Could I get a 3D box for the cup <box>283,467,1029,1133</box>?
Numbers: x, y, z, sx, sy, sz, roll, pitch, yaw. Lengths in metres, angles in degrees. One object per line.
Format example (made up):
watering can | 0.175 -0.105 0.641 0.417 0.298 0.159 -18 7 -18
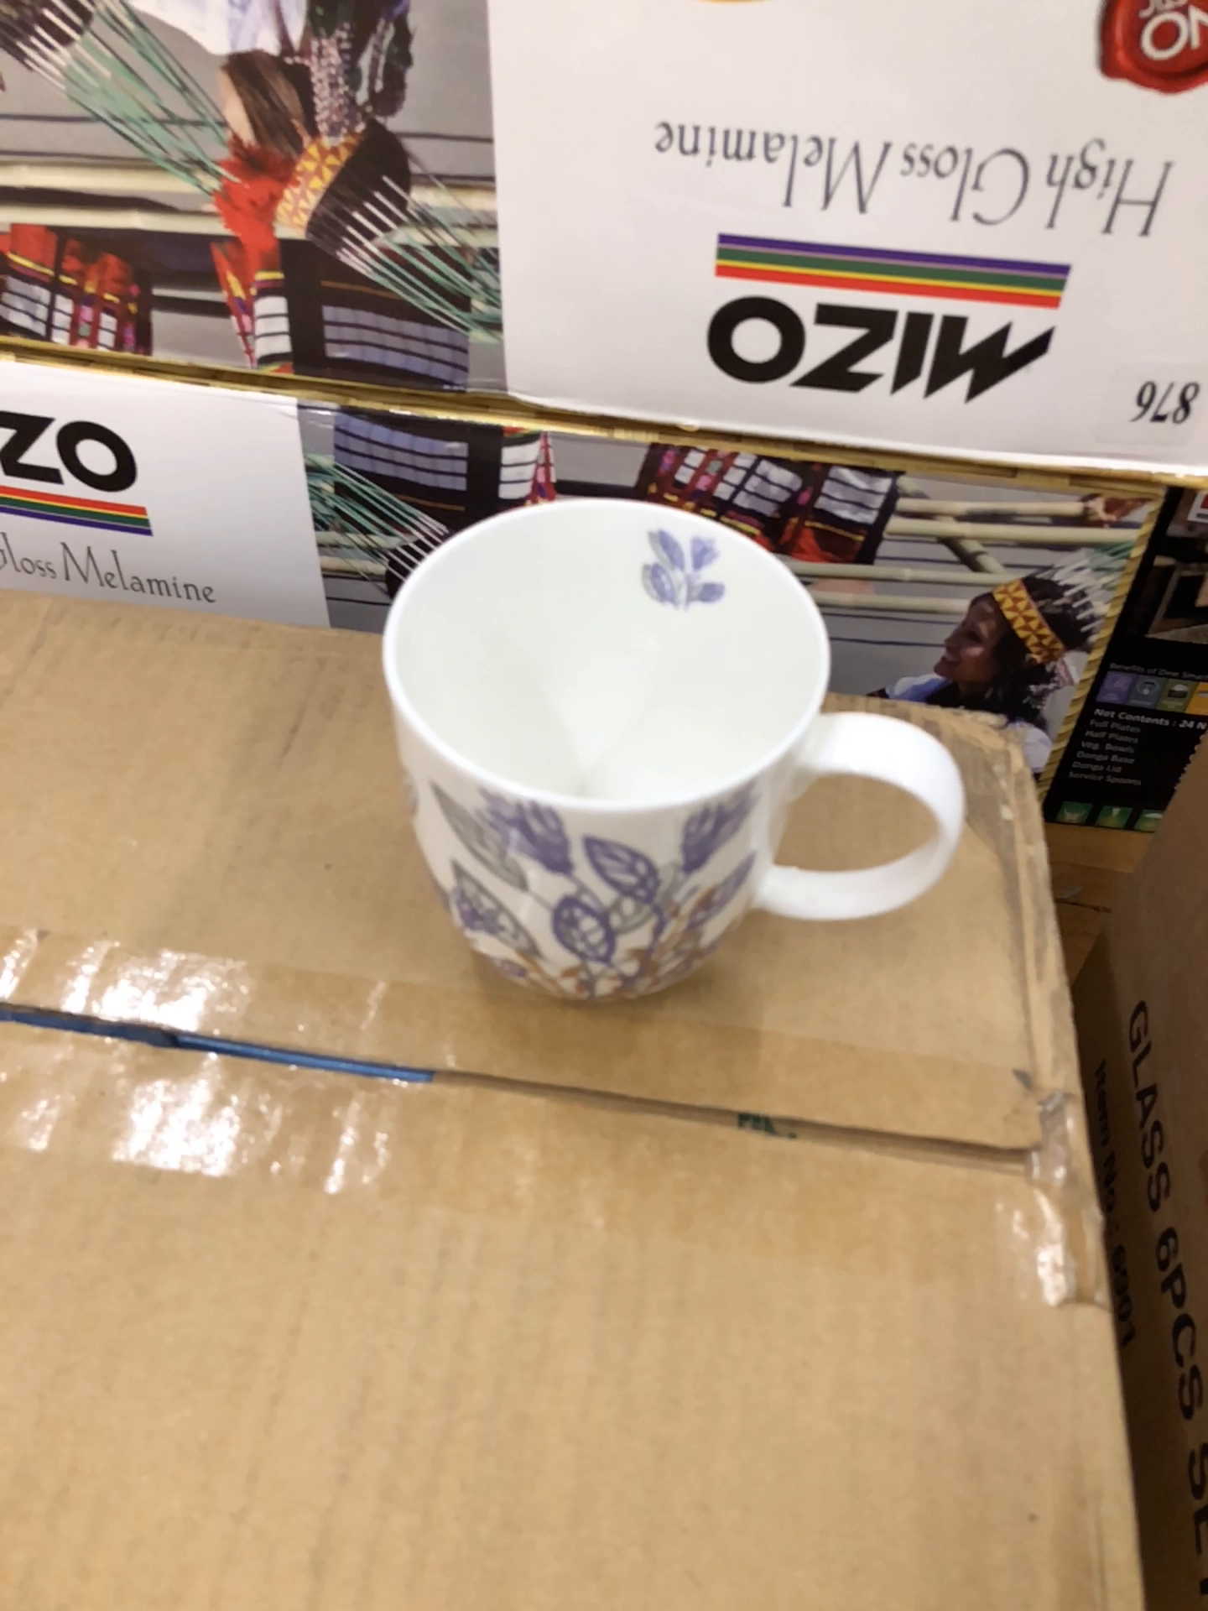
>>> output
cup | 0.015 -0.004 0.266 0.120 0.070 0.091 11 49 7
